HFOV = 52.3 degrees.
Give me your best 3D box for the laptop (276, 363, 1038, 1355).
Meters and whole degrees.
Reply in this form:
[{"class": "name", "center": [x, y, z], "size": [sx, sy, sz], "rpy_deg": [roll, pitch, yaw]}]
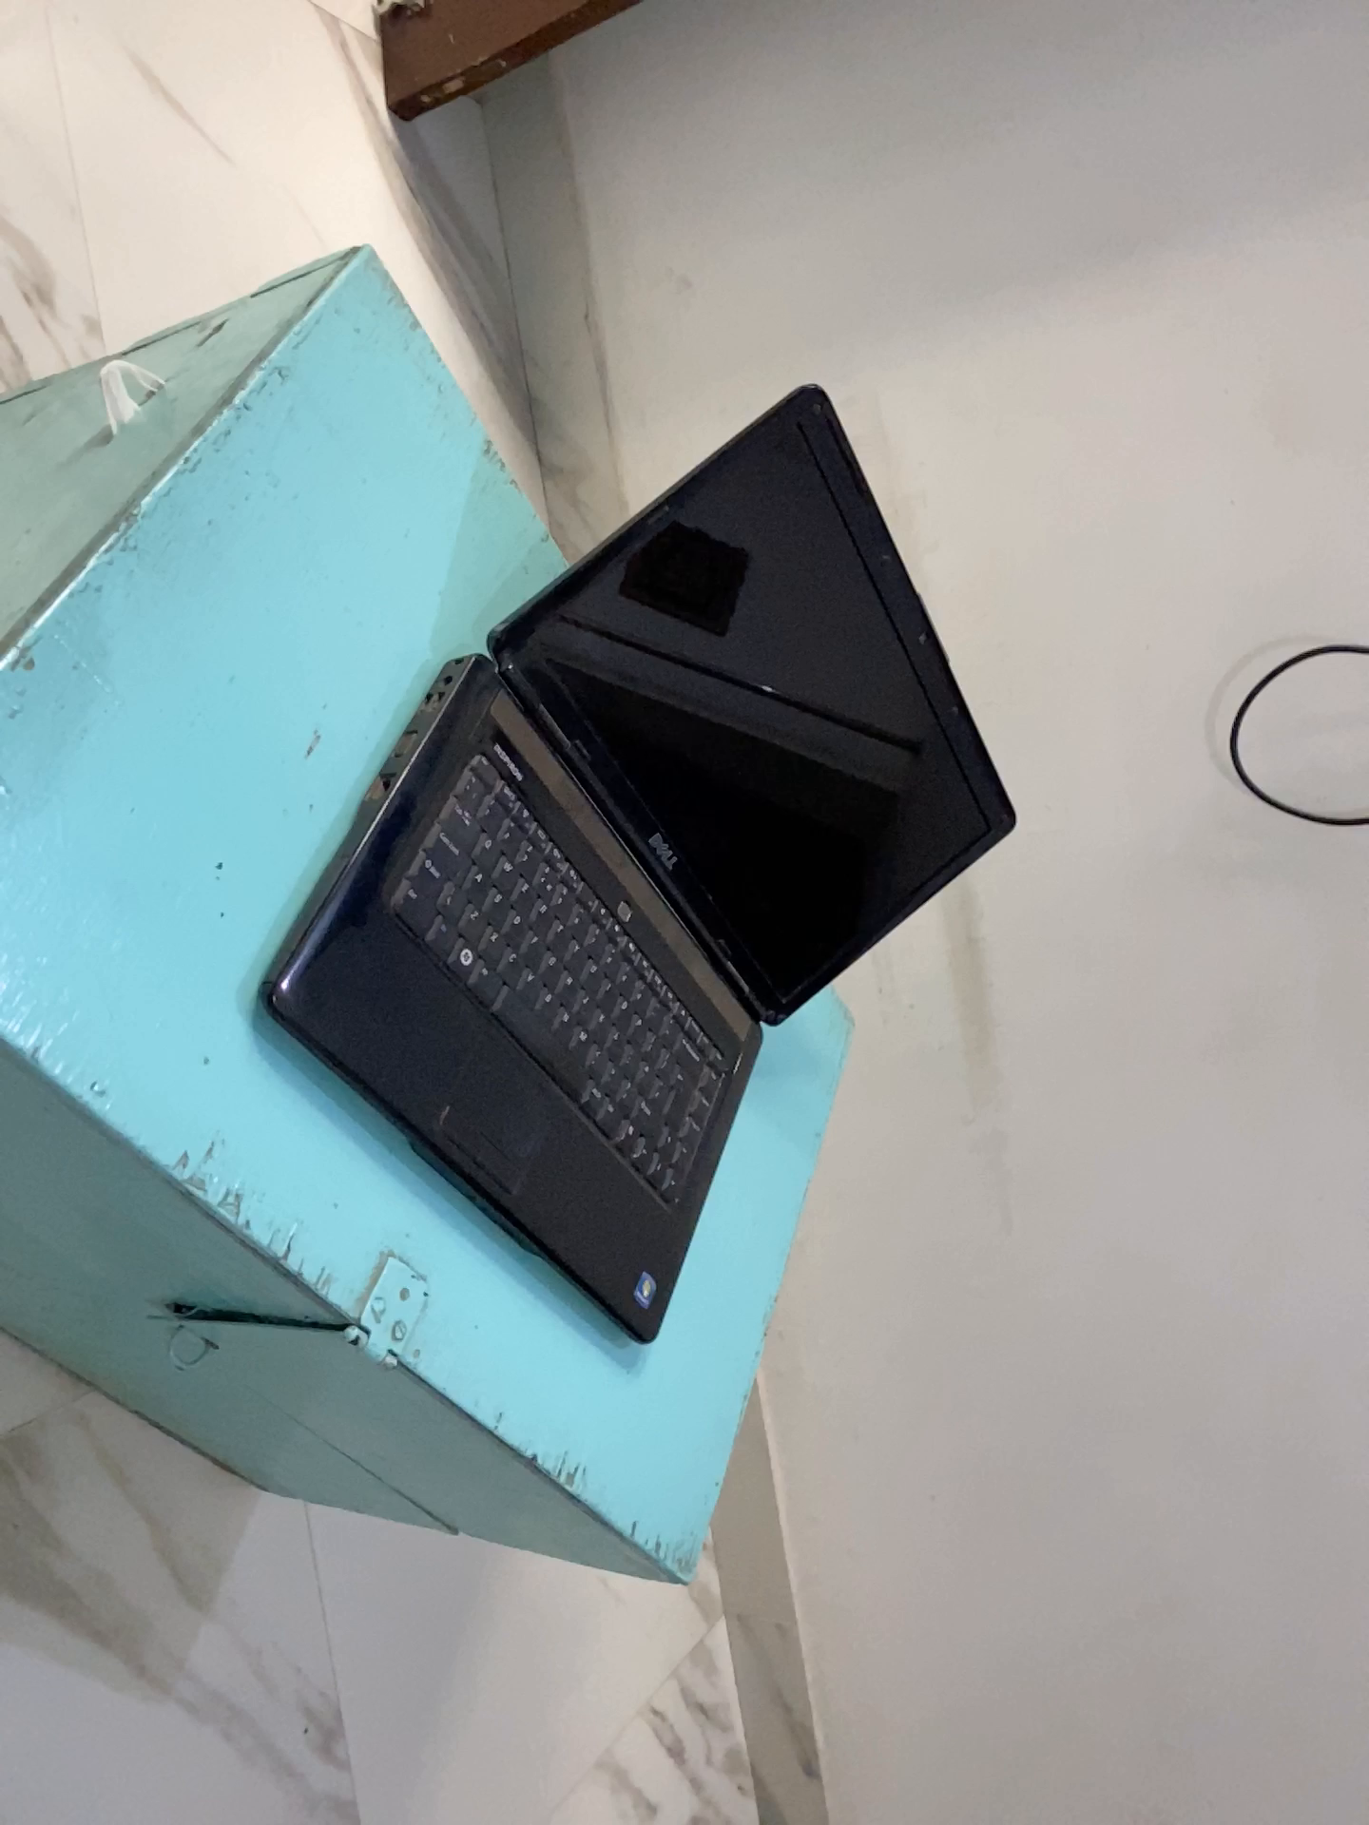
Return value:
[{"class": "laptop", "center": [0.035, -0.018, 0.812], "size": [0.364, 0.162, 0.413], "rpy_deg": [54, 46, -40]}]
